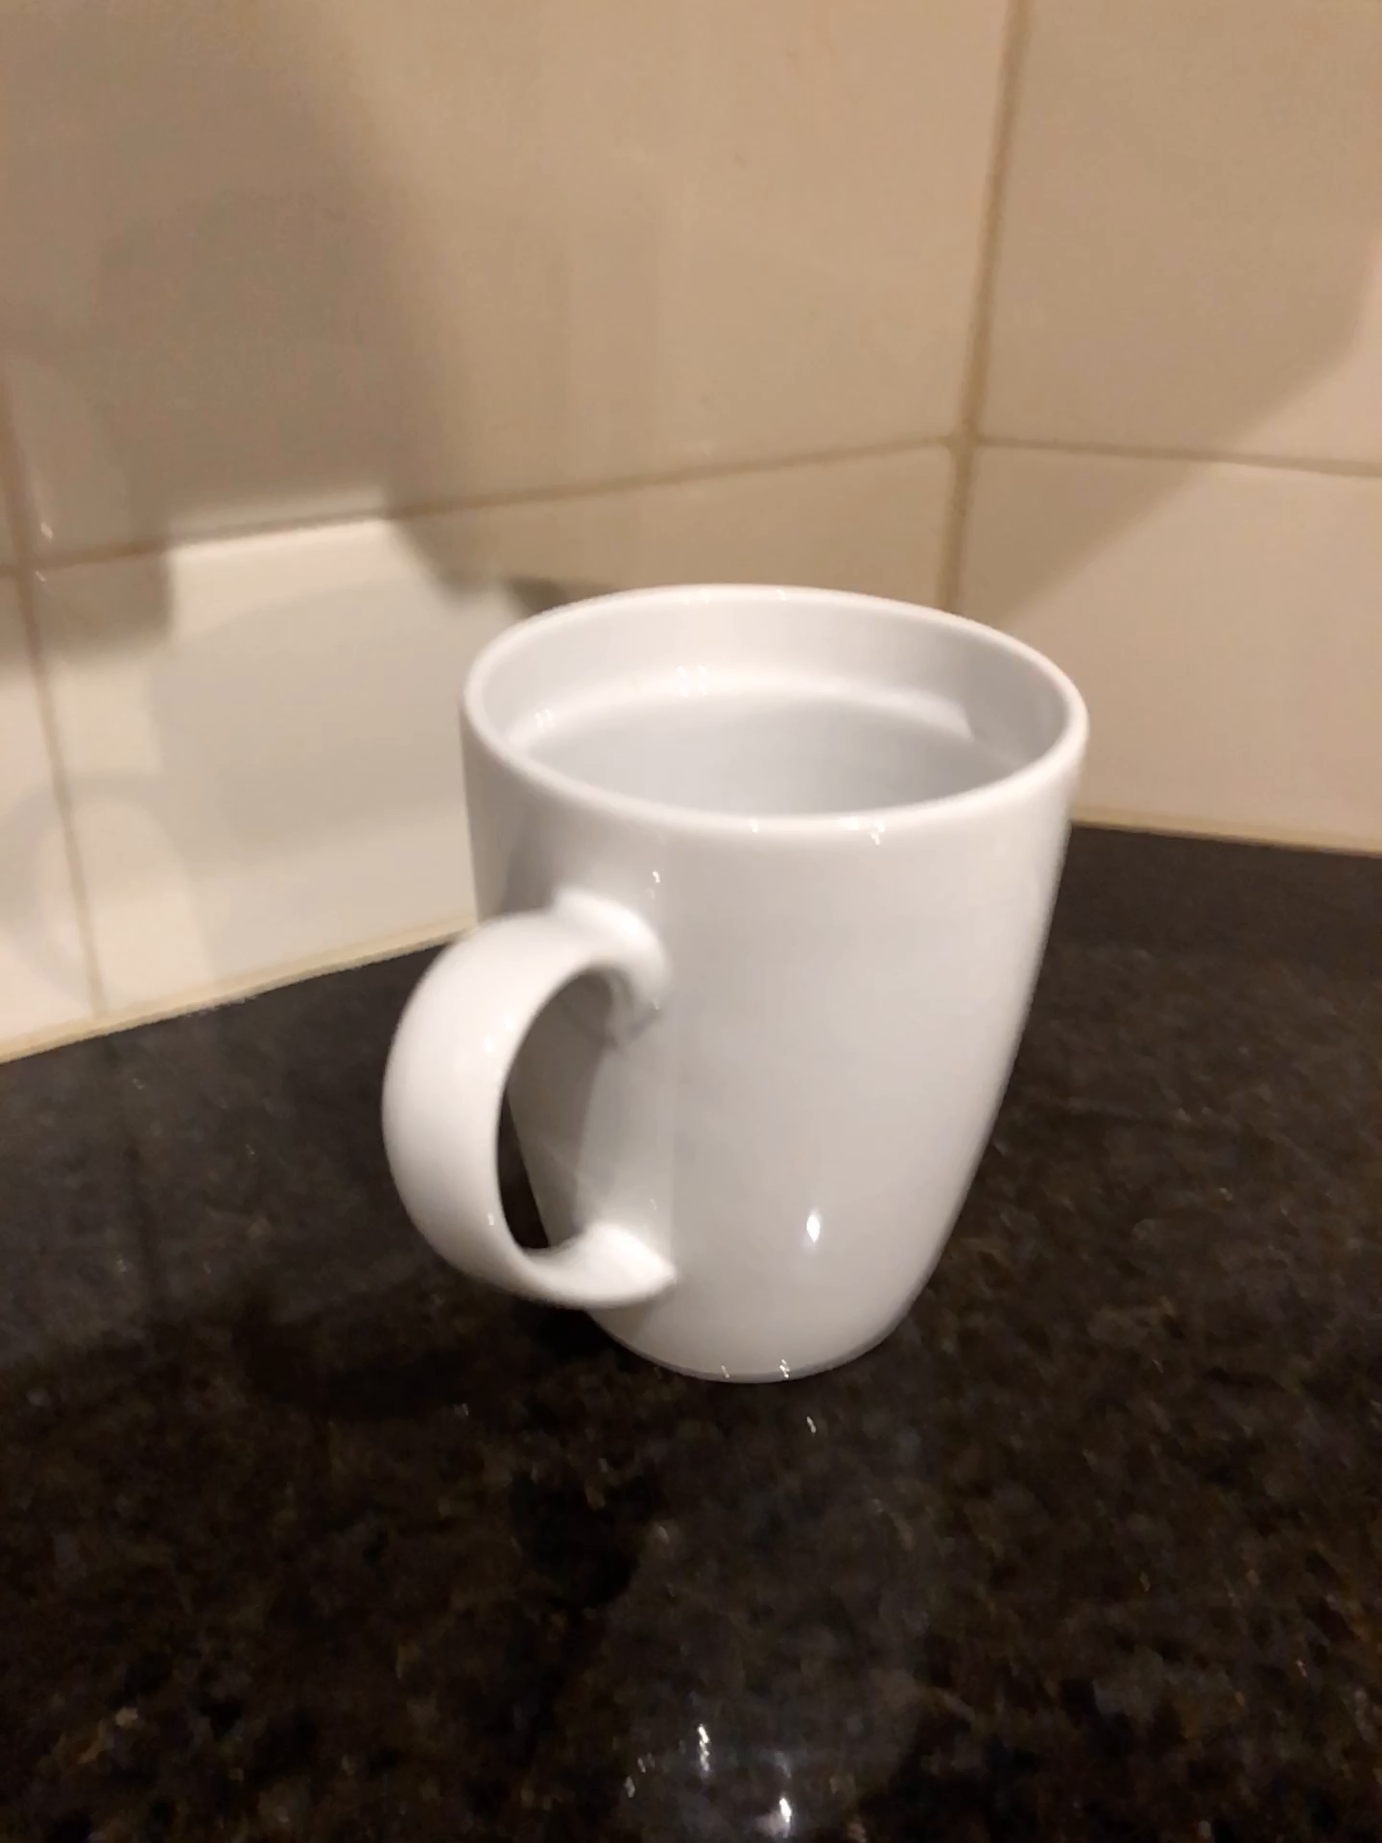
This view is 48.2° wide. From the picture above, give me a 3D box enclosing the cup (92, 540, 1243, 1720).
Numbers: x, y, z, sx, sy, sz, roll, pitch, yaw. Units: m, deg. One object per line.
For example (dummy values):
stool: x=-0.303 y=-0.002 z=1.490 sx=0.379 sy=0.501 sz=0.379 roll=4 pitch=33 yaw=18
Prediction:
cup: x=0.005 y=0.012 z=0.221 sx=0.090 sy=0.090 sz=0.130 roll=20 pitch=34 yaw=29
